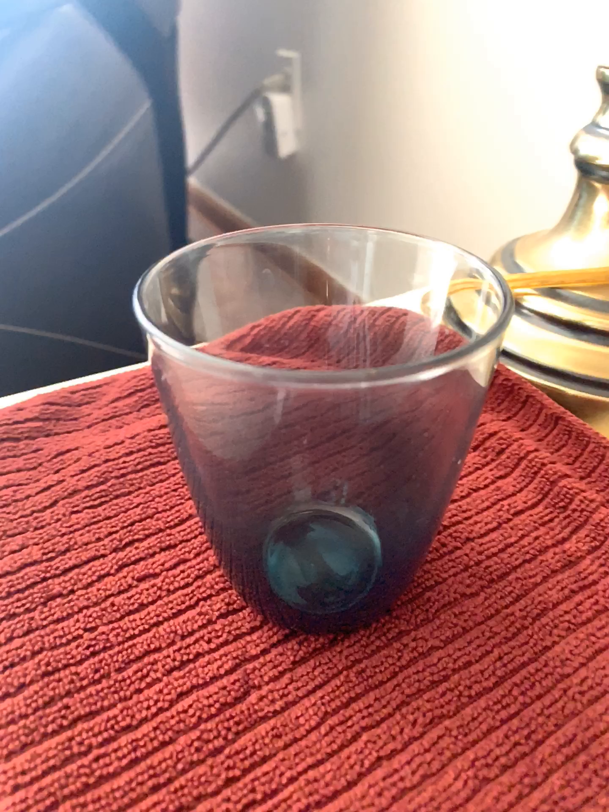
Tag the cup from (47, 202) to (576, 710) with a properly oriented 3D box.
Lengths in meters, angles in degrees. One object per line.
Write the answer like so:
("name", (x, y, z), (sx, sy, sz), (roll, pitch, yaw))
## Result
("cup", (0.004, 0.000, 0.162), (0.086, 0.070, 0.084), (1, 33, 0))
